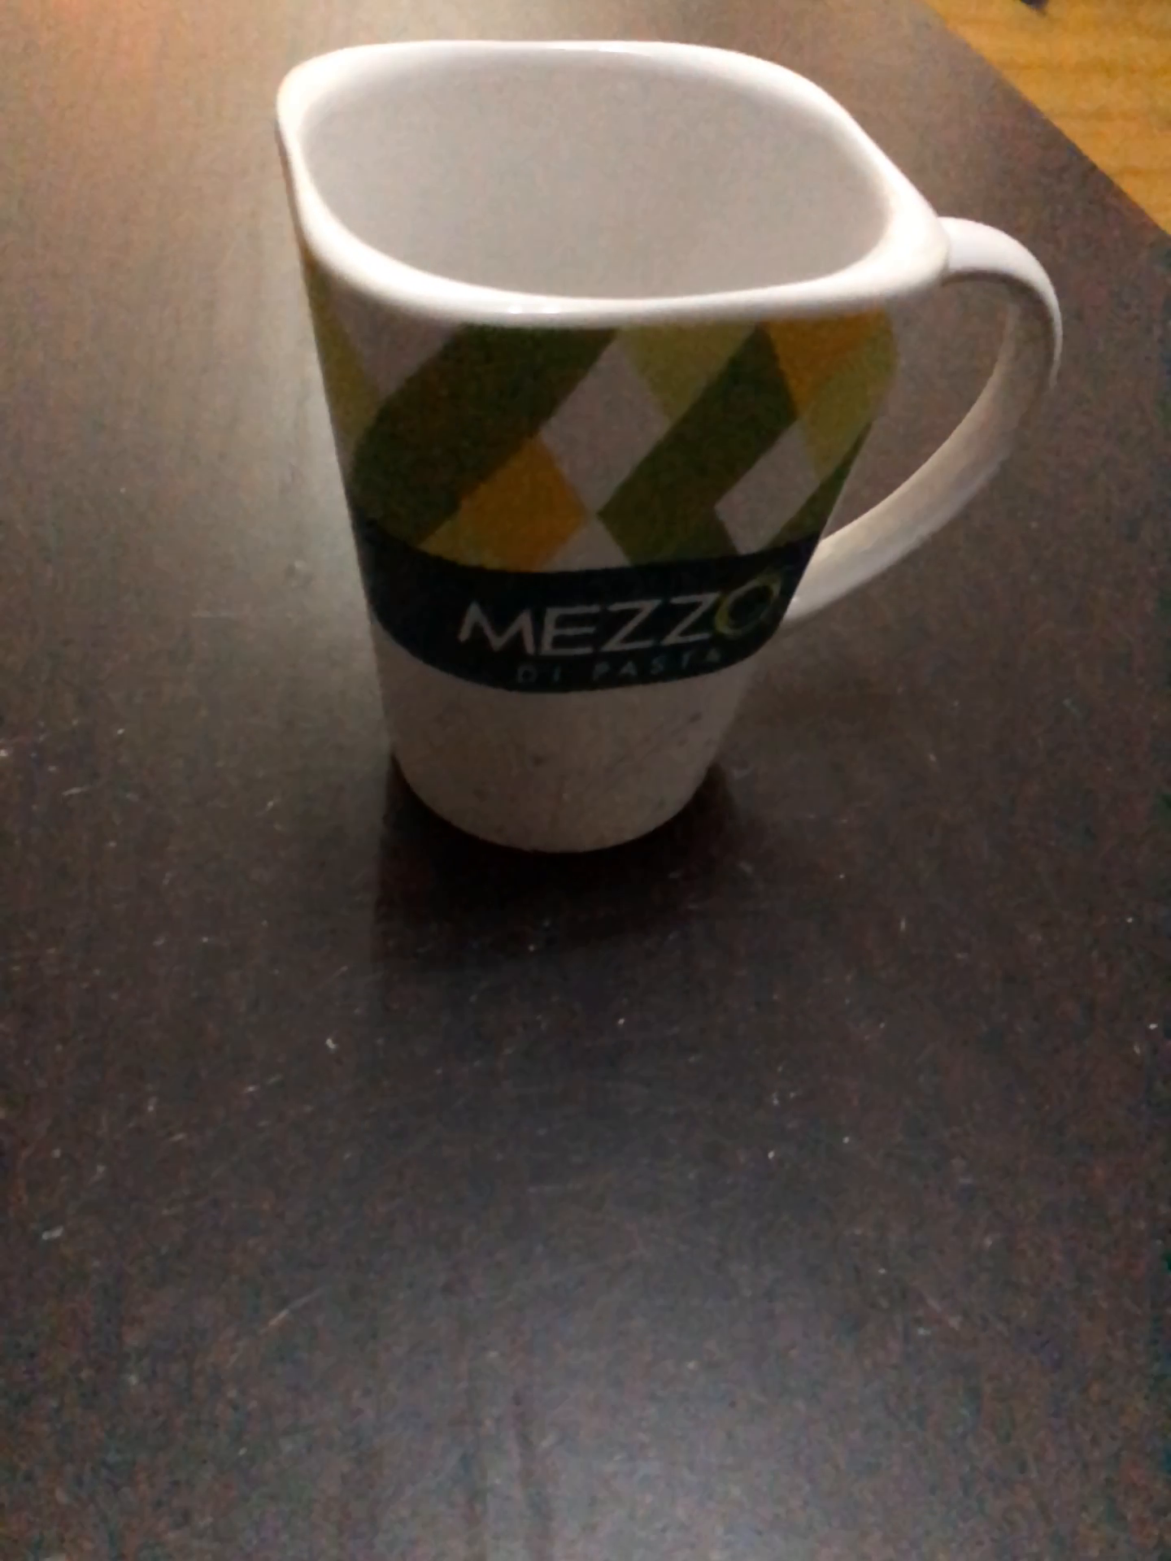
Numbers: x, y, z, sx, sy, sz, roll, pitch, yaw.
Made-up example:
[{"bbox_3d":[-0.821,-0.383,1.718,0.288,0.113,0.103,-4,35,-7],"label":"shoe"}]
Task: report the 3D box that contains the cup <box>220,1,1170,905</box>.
[{"bbox_3d":[0.013,-0.051,0.191,0.110,0.089,0.080,-10,49,-14],"label":"cup"}]
